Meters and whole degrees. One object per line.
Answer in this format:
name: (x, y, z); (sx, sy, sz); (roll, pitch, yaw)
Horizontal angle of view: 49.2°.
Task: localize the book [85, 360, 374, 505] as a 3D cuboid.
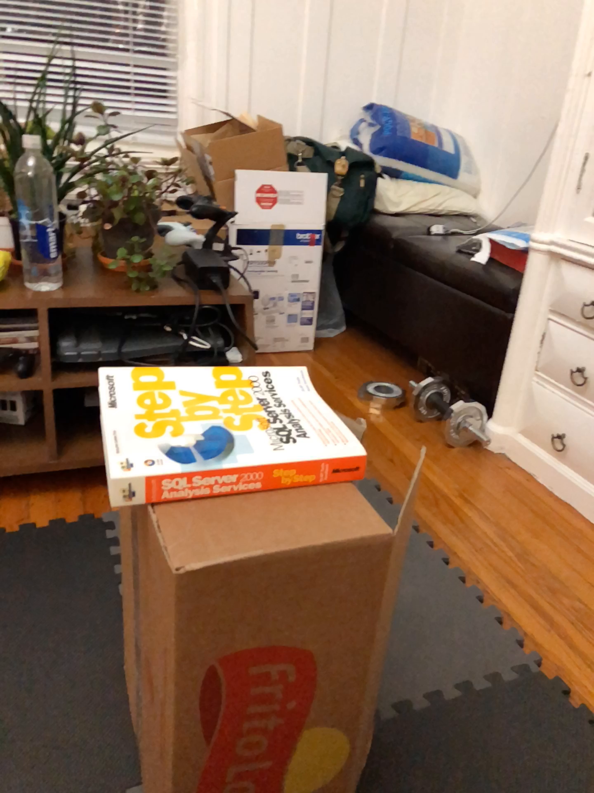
book: (-0.079, 0.023, 0.654); (0.240, 0.050, 0.201); (-3, 23, -22)
